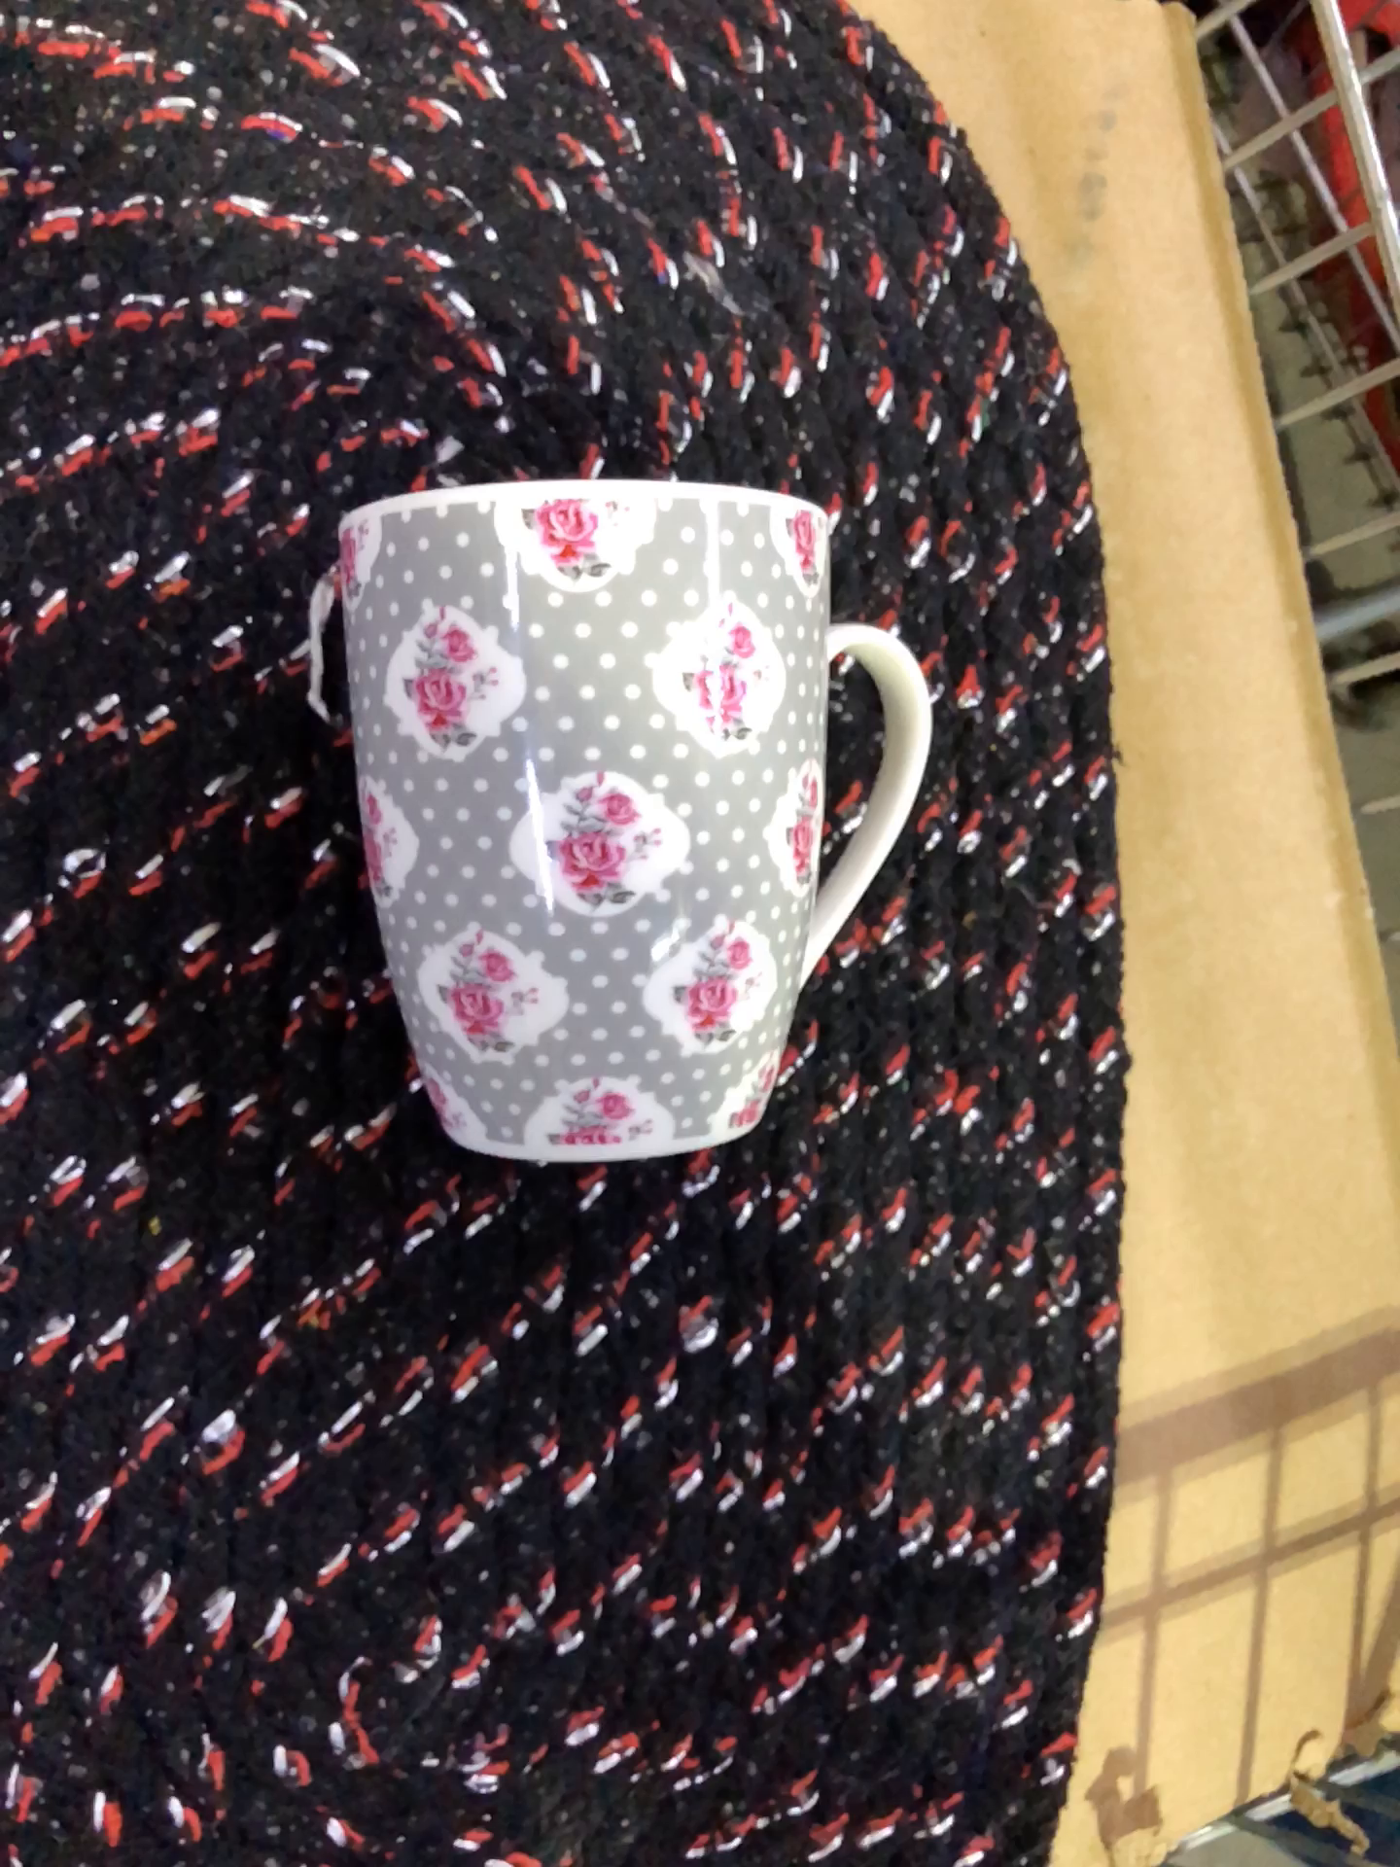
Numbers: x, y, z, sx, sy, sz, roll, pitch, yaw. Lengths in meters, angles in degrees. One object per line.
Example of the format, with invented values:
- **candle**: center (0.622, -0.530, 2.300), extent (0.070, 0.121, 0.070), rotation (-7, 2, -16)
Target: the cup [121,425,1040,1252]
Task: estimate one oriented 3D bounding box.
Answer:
- **cup**: center (-0.017, -0.021, 0.258), extent (0.110, 0.090, 0.100), rotation (-12, 101, -40)
